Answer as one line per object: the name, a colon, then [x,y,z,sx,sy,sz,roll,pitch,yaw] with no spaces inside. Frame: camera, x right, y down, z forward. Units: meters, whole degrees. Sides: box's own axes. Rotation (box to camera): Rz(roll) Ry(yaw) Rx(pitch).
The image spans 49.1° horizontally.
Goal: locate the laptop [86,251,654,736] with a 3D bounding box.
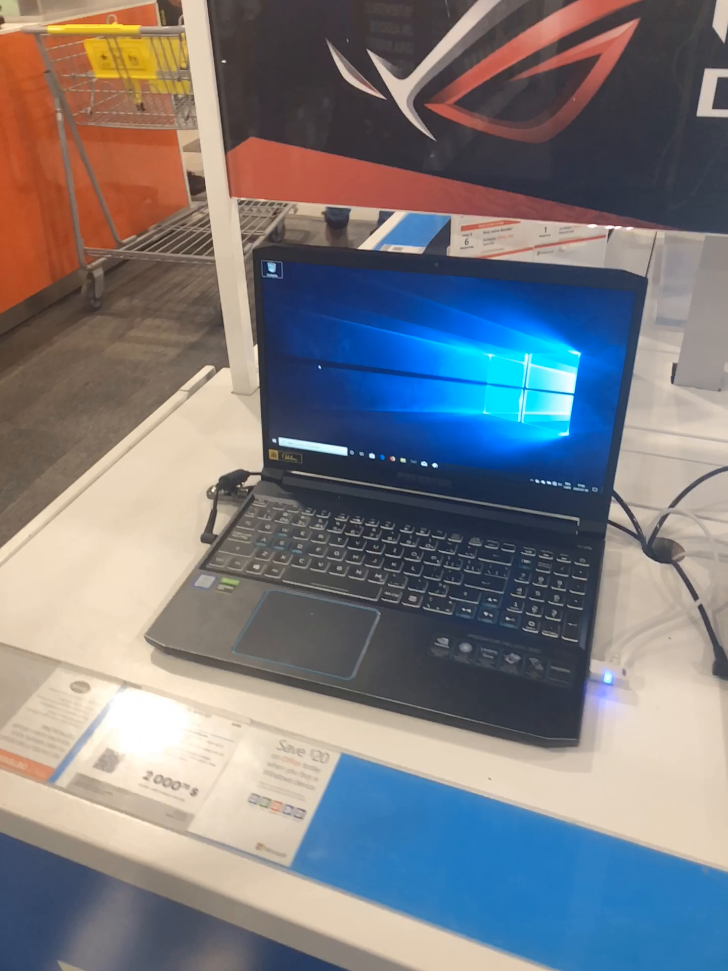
laptop: [0.027,-0.020,0.654,0.348,0.230,0.274,9,38,17]
